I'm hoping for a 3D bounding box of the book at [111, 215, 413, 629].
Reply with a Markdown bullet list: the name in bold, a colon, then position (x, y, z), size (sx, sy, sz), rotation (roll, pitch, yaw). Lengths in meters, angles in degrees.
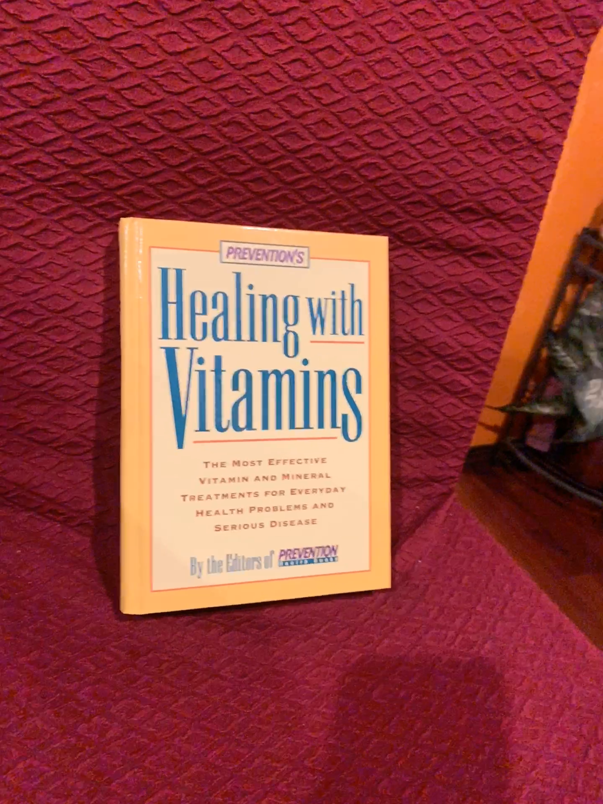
- **book**: position (-0.023, 0.010, 0.407), size (0.190, 0.240, 0.040), rotation (-1, 1, -17)
